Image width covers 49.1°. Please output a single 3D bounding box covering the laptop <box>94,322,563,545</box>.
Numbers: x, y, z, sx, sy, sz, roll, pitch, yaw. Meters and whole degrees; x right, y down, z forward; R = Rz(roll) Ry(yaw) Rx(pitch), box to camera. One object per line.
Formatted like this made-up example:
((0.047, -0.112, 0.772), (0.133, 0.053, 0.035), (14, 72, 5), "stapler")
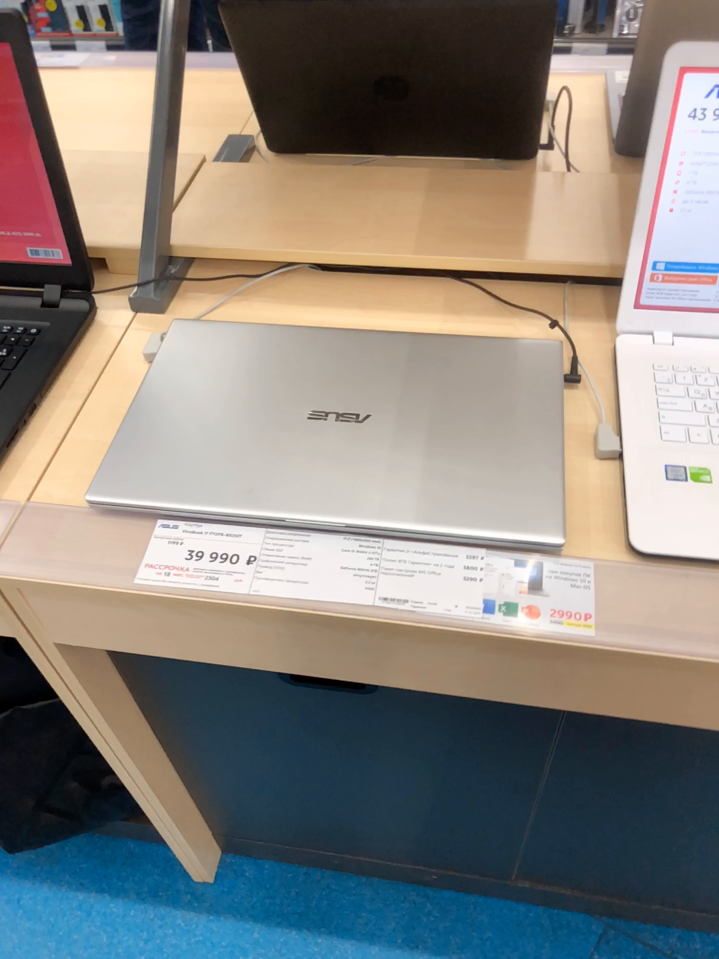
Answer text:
((-0.016, -0.056, 0.721), (0.391, 0.006, 0.233), (5, 50, 8), "laptop")
